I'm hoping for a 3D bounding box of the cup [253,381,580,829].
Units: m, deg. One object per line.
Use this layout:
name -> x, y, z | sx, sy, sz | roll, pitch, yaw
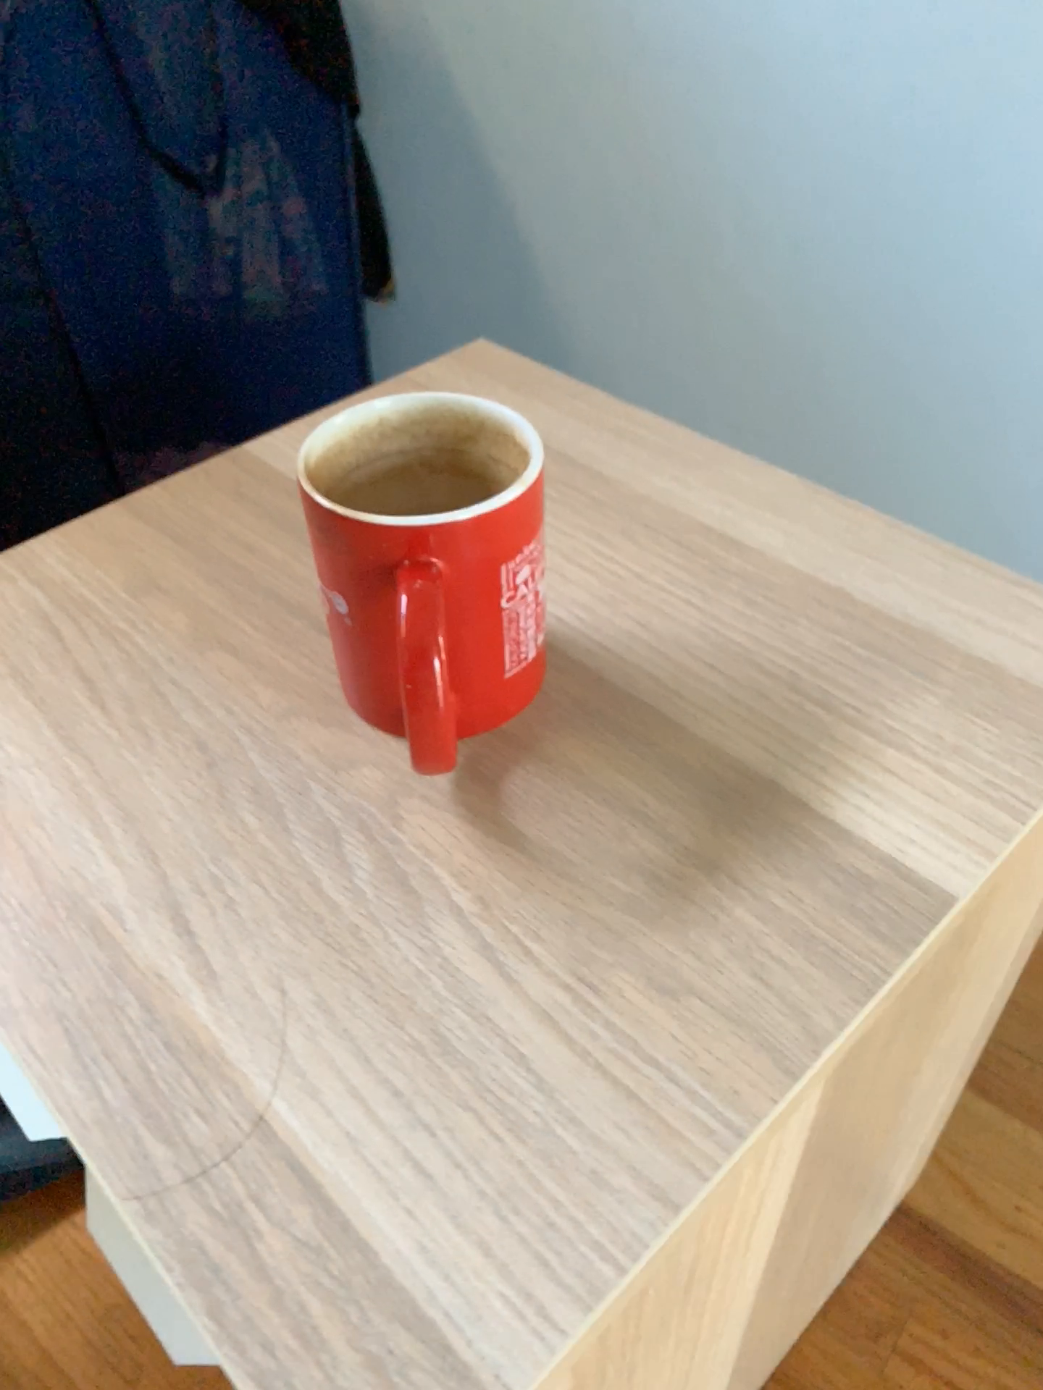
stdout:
cup -> -0.030, -0.035, 0.376 | 0.090, 0.090, 0.131 | -2, 43, 0
